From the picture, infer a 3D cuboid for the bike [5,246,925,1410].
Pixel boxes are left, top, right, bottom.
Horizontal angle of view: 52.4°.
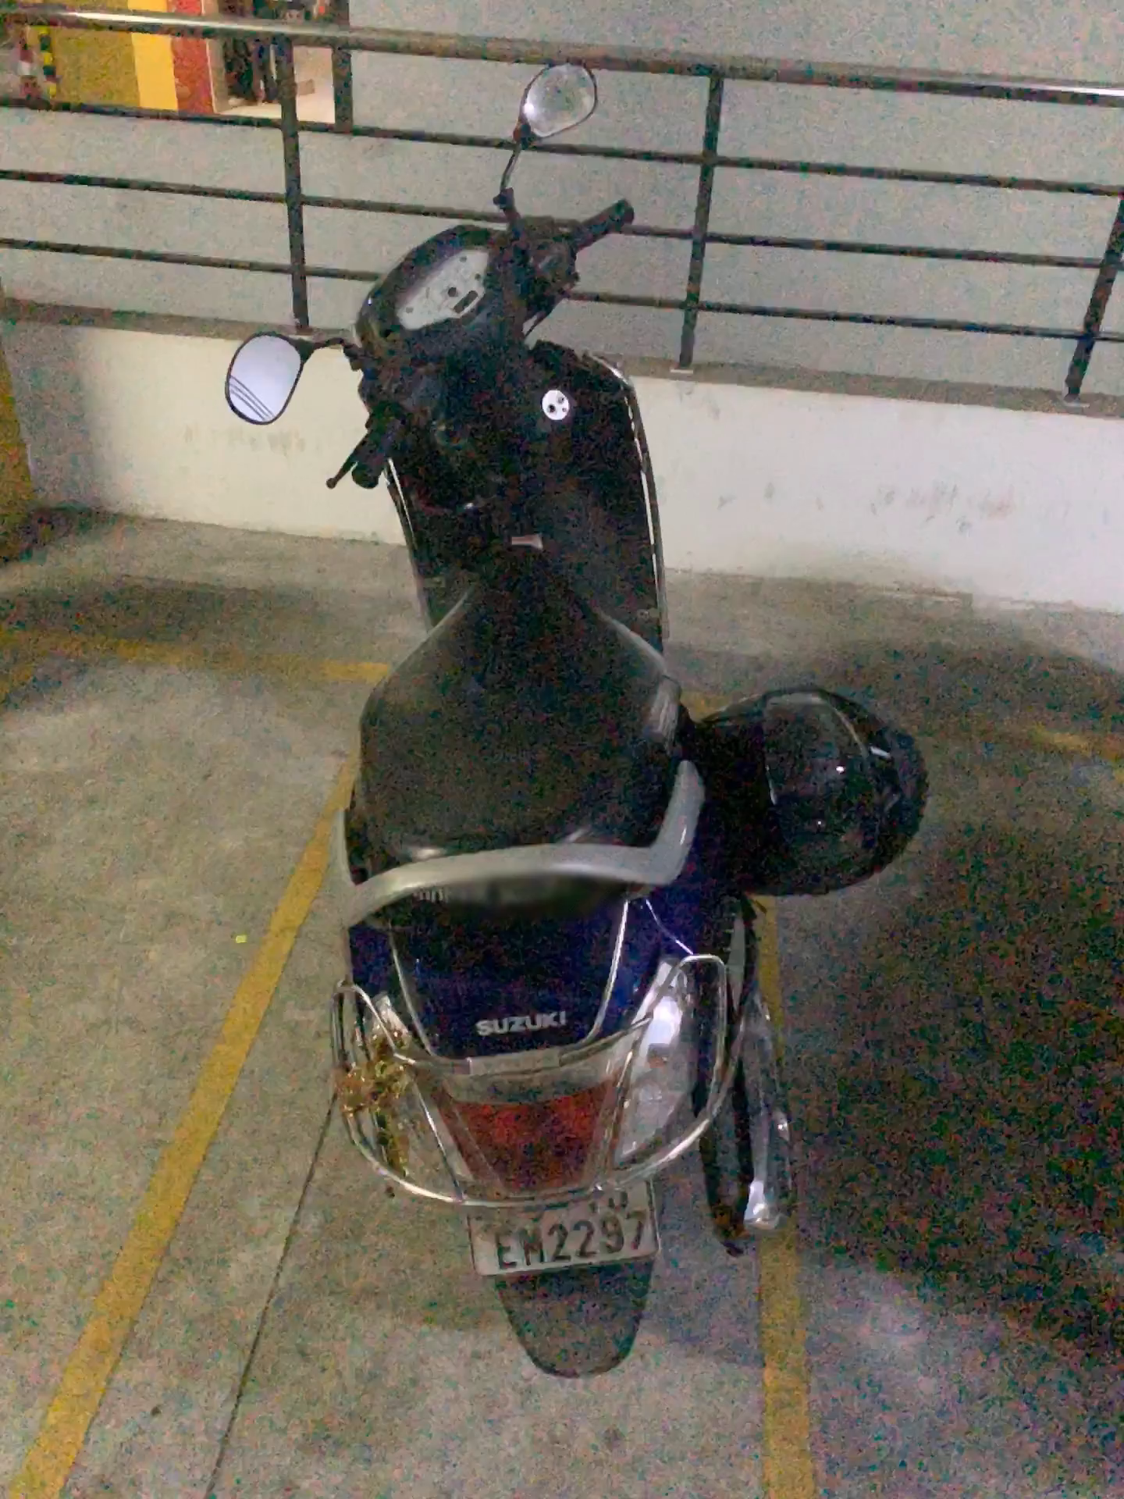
[{"bbox_3d":[-0.175,-0.043,1.735,0.622,1.157,1.482,-1,31,-7],"label":"bike"}]
